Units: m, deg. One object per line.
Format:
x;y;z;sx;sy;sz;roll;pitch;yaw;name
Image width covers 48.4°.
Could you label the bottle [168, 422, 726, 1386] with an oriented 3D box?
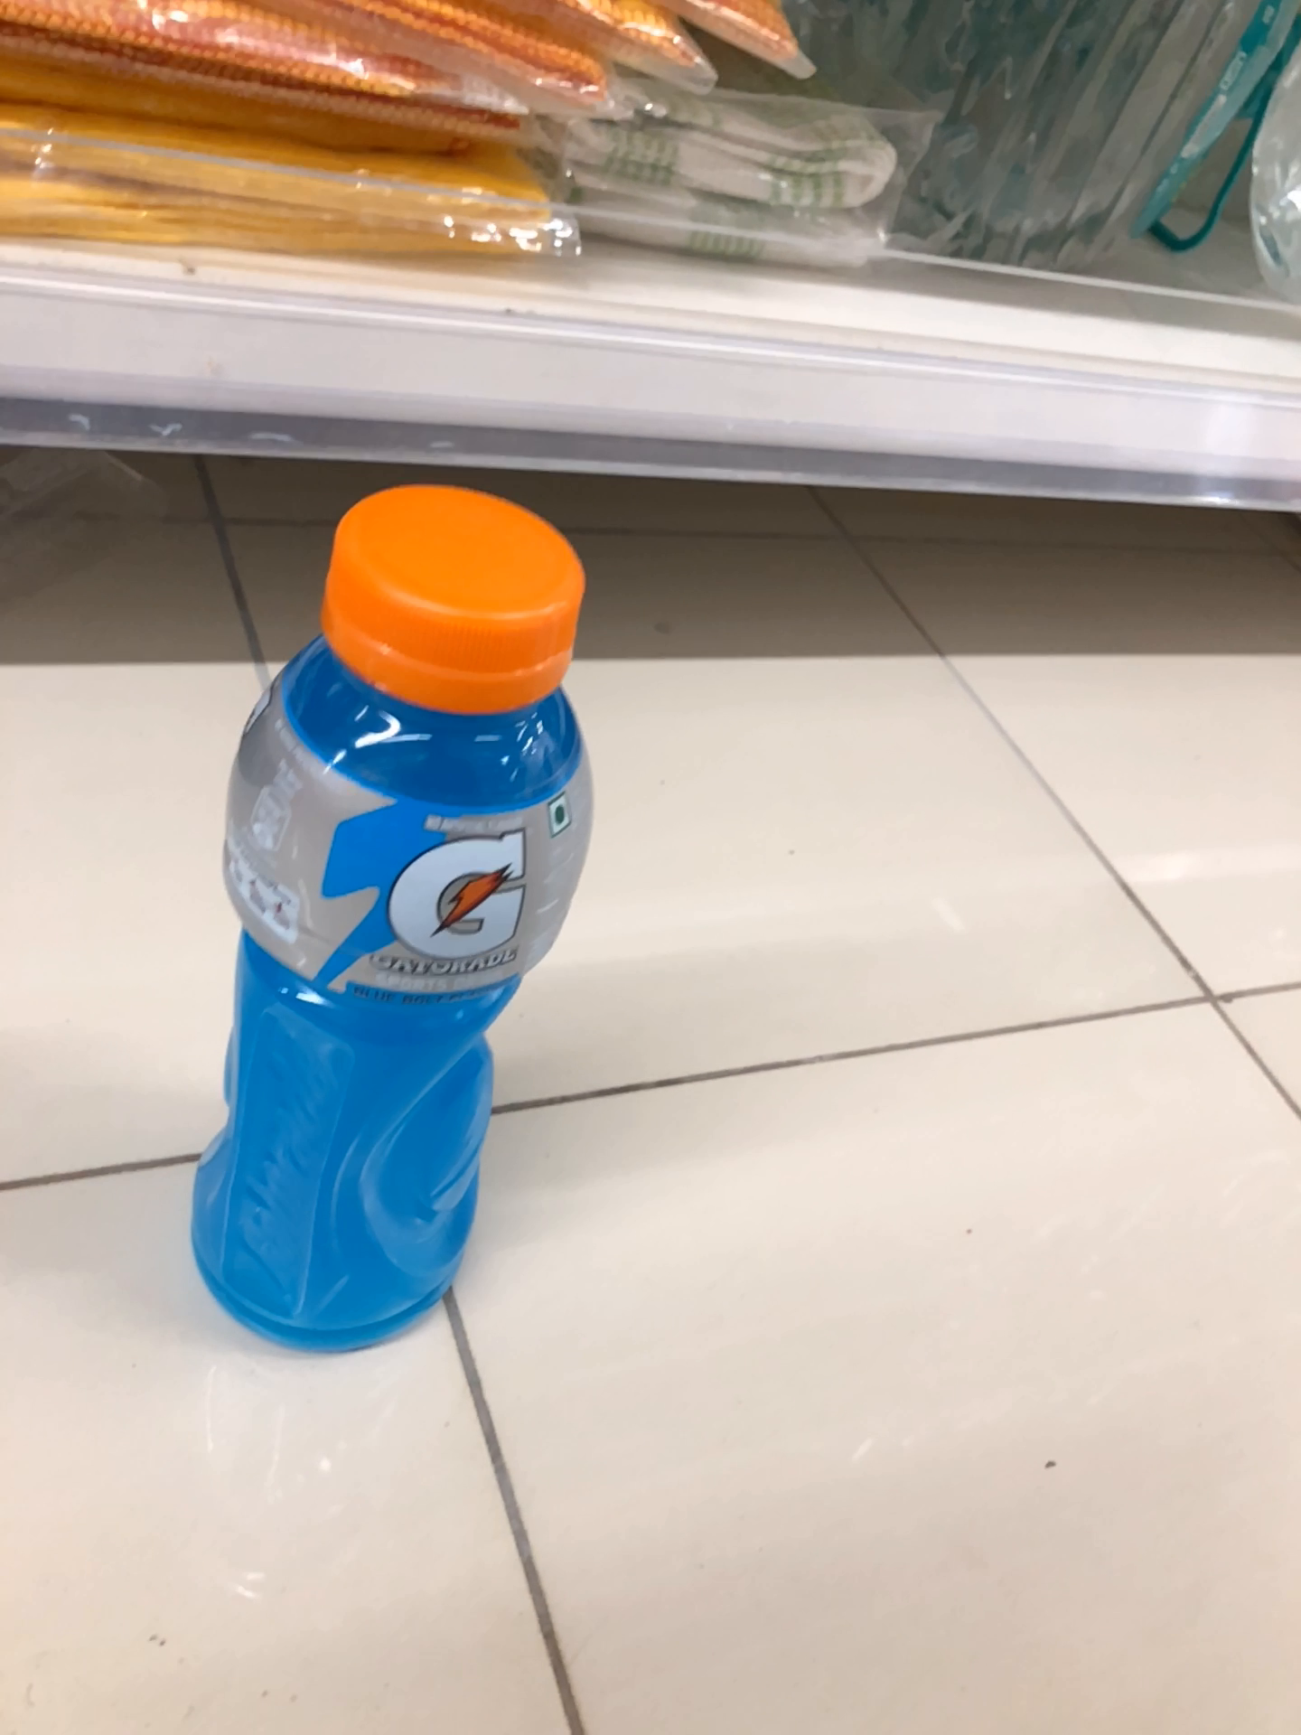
-0.052;0.022;0.284;0.070;0.189;0.070;11;41;-10;bottle
